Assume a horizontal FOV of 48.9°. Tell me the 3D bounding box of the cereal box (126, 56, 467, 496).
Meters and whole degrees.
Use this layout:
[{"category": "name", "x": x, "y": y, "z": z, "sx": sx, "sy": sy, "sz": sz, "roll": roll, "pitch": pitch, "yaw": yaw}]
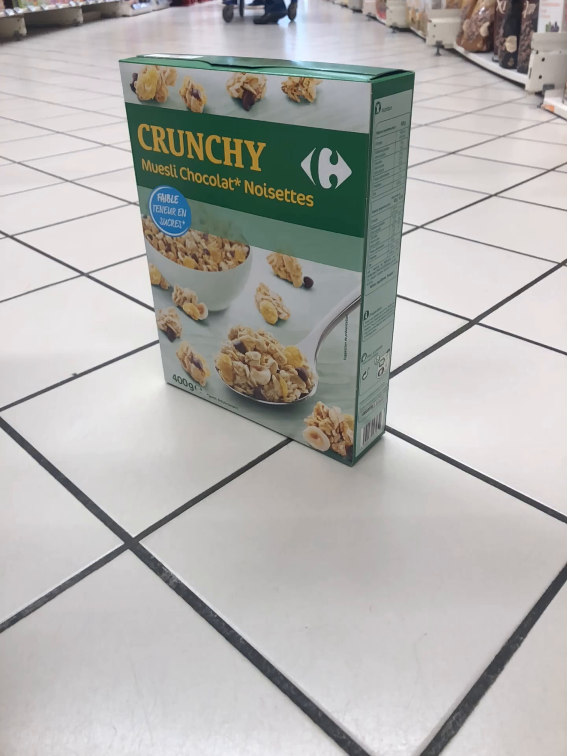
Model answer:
[{"category": "cereal box", "x": 0.001, "y": -0.072, "z": 0.423, "sx": 0.200, "sy": 0.249, "sz": 0.060, "roll": 22, "pitch": 39, "yaw": 33}]
